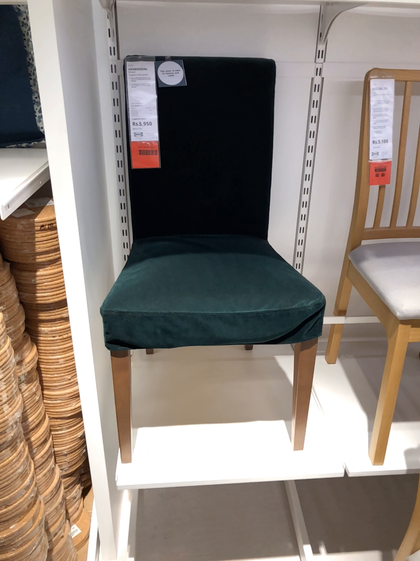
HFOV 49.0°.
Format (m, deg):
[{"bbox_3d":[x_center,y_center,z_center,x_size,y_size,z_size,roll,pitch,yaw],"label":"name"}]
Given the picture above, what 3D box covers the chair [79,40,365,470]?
[{"bbox_3d":[-0.007,-0.080,1.172,0.470,0.914,0.513,-2,25,-6],"label":"chair"}]
